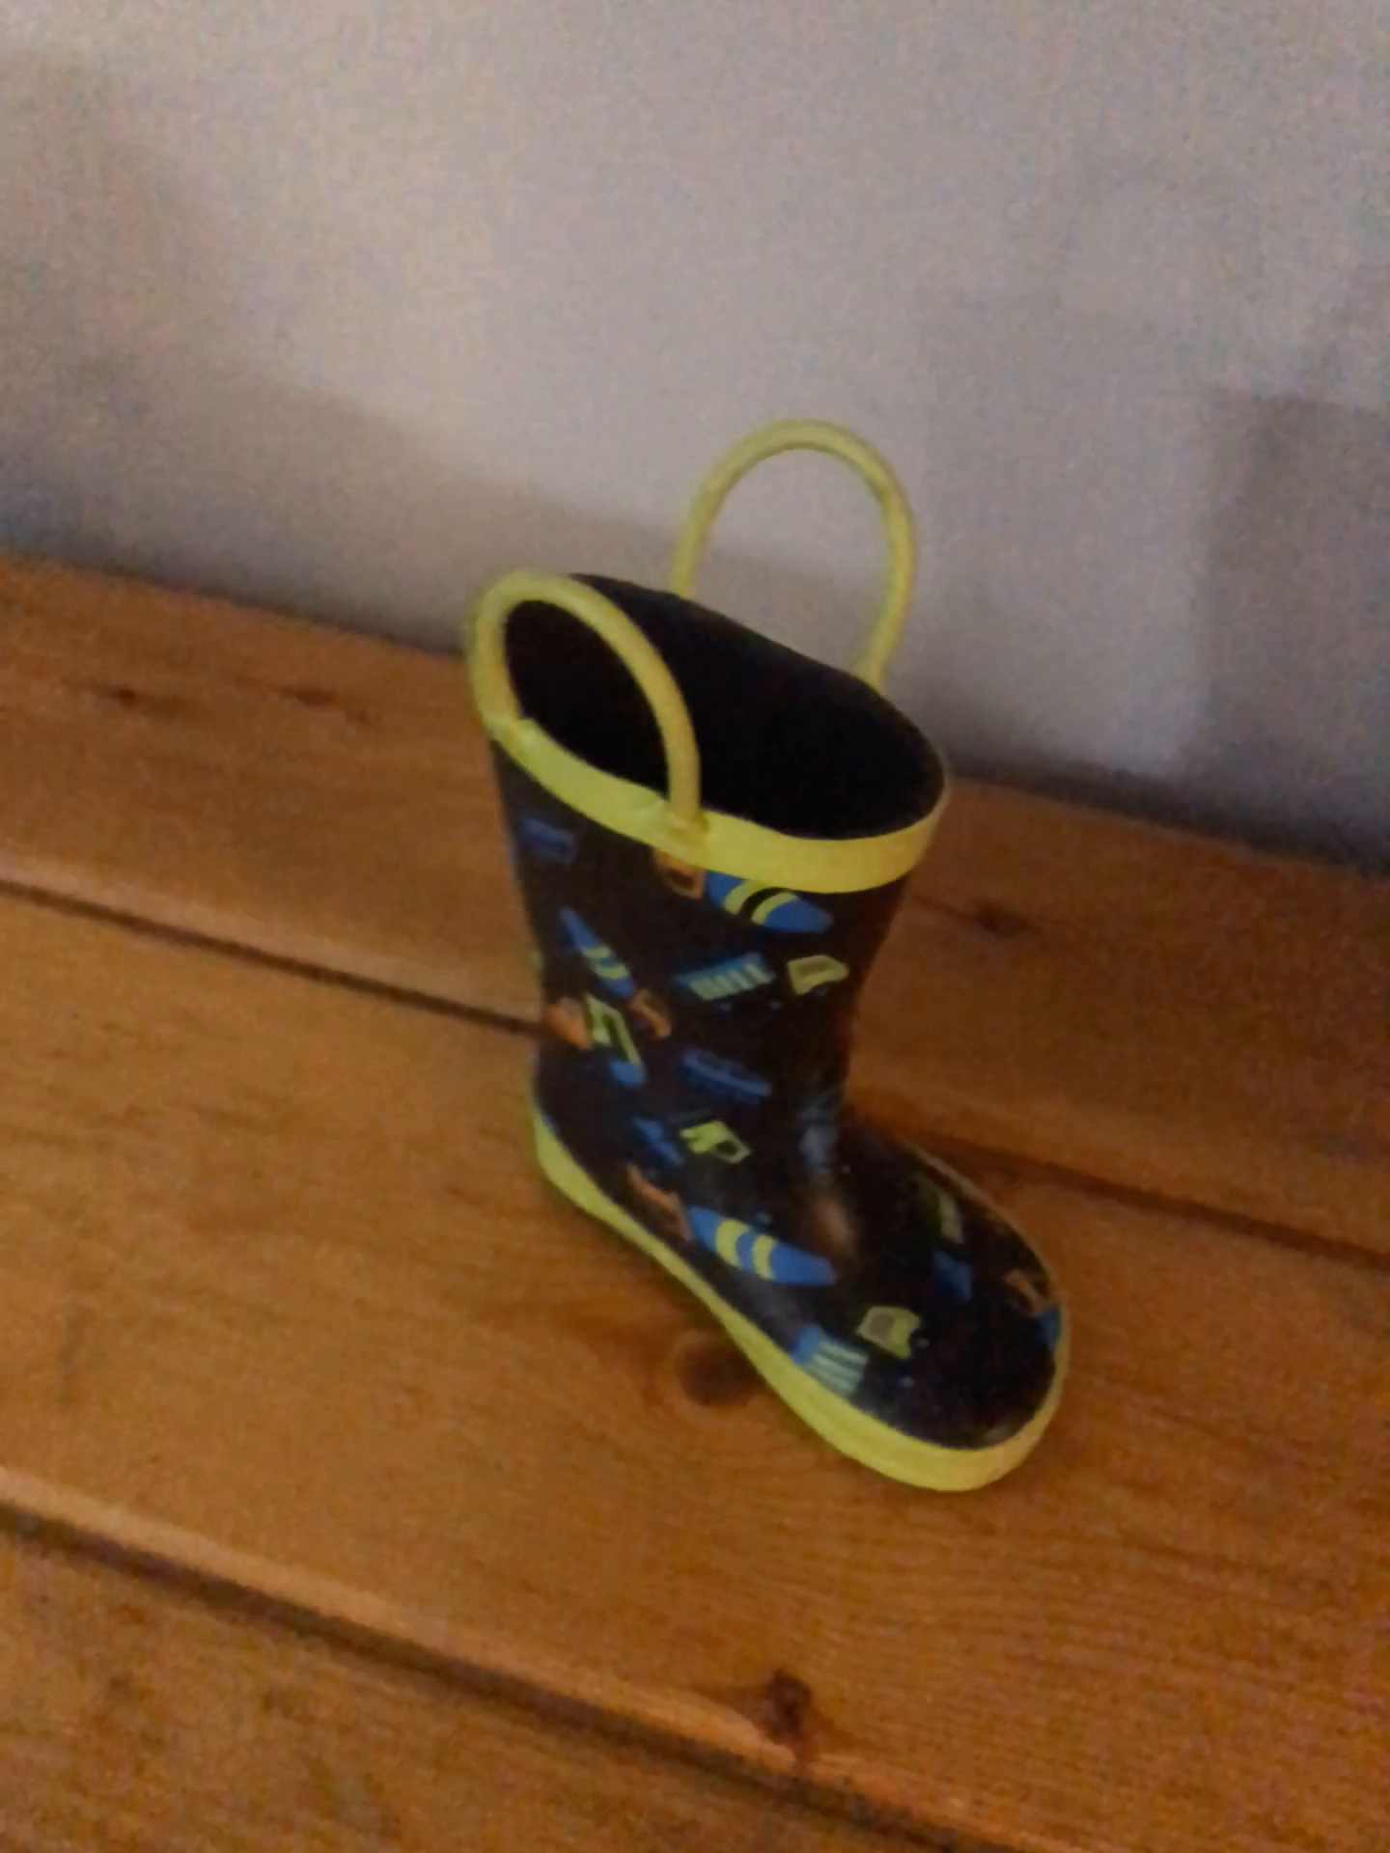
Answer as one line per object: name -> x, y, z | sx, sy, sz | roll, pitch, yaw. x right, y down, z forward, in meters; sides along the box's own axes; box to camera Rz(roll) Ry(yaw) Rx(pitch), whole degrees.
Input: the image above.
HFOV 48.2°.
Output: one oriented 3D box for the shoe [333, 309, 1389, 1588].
shoe -> 0.025, 0.013, 0.320 | 0.170, 0.200, 0.080 | 36, 56, 24
